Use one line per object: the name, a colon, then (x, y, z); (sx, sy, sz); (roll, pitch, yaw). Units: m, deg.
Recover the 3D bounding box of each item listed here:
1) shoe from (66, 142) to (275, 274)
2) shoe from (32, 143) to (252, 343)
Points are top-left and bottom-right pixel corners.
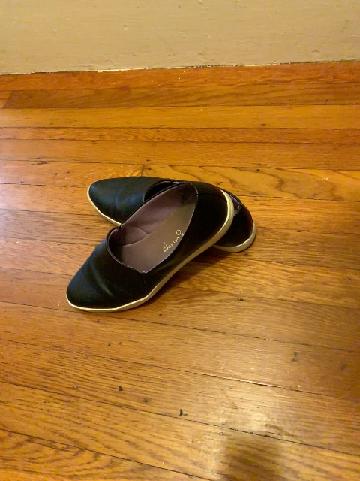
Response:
shoe: (-0.012, -0.051, 0.515); (0.261, 0.080, 0.100); (16, 66, 20)
shoe: (-0.055, 0.015, 0.445); (0.250, 0.080, 0.100); (-36, 57, 17)
